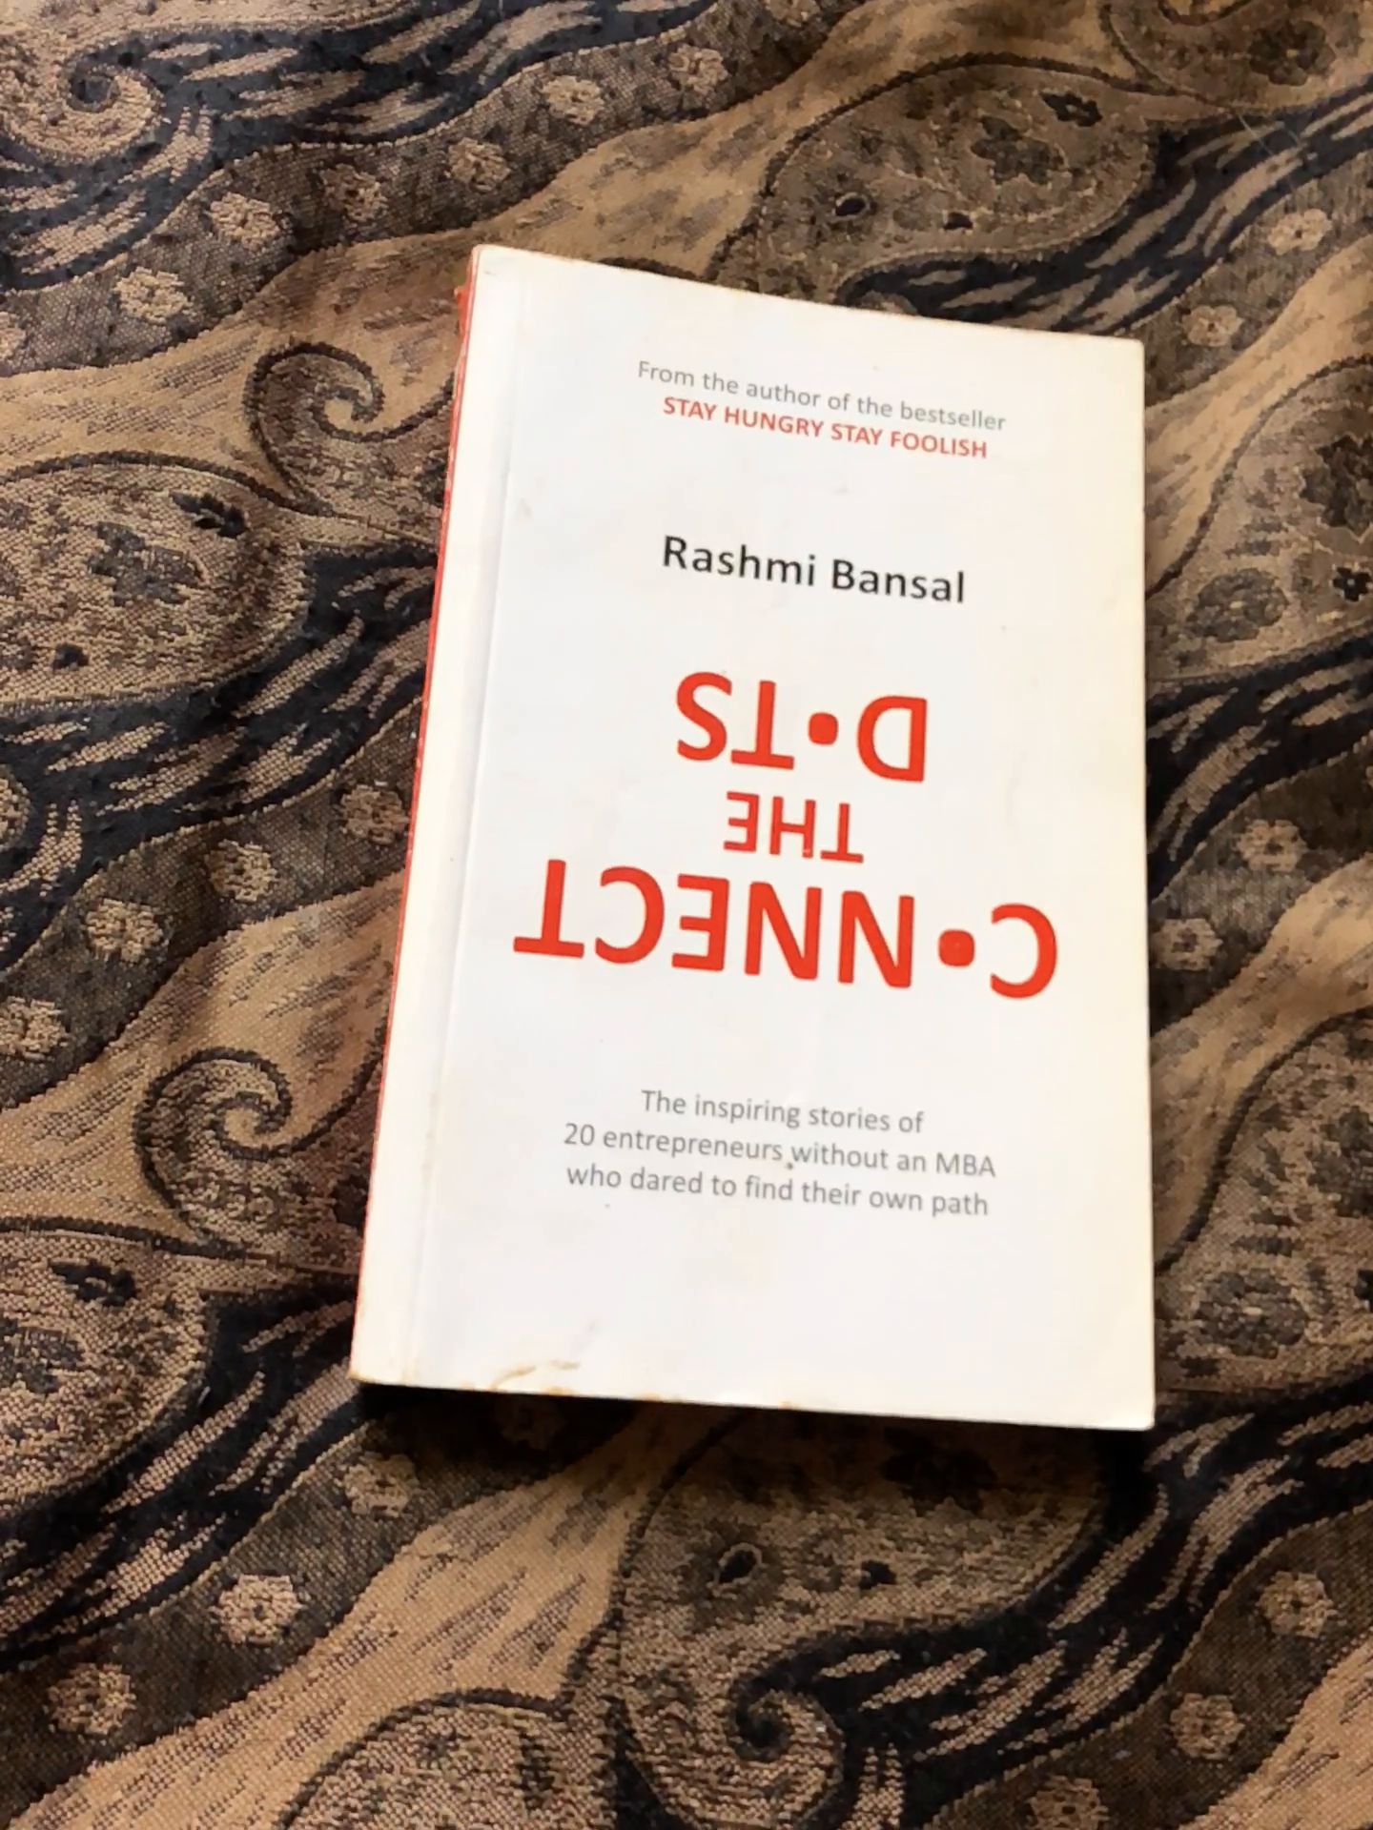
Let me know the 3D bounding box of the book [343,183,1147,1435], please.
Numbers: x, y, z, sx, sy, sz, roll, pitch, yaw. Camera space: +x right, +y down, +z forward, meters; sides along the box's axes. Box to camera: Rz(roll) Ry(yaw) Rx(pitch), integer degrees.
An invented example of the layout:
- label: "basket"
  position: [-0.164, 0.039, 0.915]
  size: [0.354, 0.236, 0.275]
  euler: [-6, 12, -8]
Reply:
- label: "book"
  position: [0.016, -0.023, 0.292]
  size: [0.130, 0.040, 0.220]
  euler: [5, 77, -3]
